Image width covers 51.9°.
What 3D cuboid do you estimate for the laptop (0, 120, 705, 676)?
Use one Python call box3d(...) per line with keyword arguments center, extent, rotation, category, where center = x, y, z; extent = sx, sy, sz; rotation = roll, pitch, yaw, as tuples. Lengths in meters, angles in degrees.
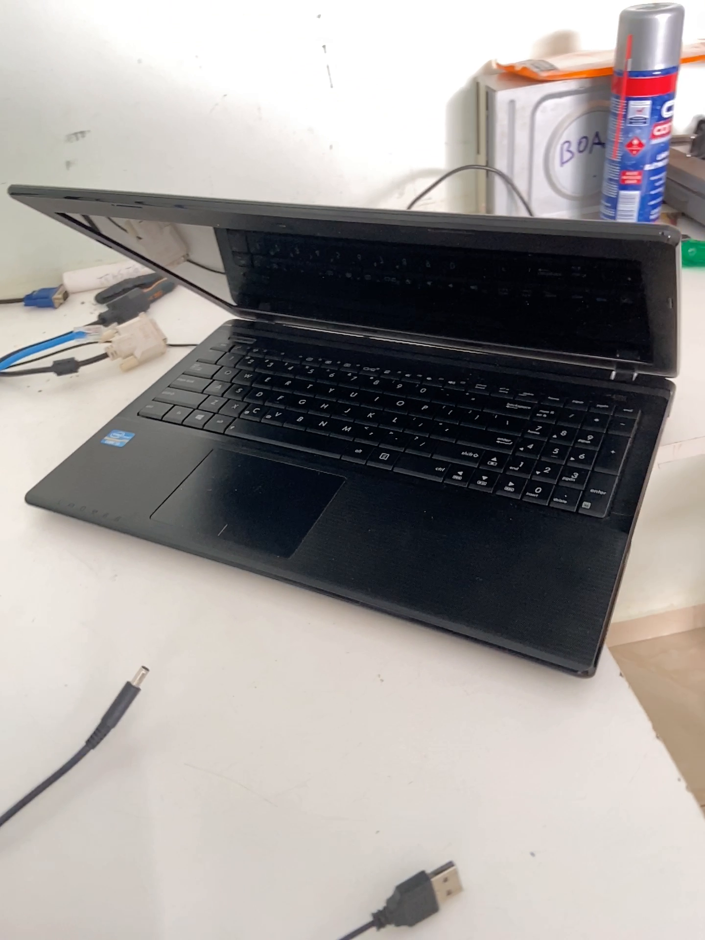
box3d(center=(-0.012, -0.085, 0.447), extent=(0.376, 0.166, 0.248), rotation=(13, 44, 25), category="laptop")
